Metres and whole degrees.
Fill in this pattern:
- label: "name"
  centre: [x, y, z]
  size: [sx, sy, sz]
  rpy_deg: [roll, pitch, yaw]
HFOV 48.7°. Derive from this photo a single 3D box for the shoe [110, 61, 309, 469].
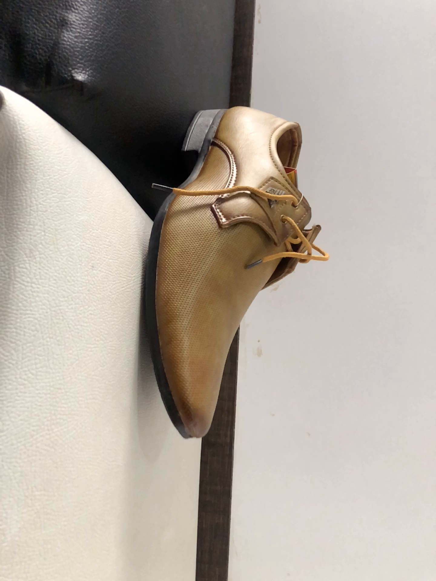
- label: "shoe"
  centre: [0.016, -0.033, 0.358]
  size: [0.100, 0.090, 0.290]
  rpy_deg: [70, 24, -56]
